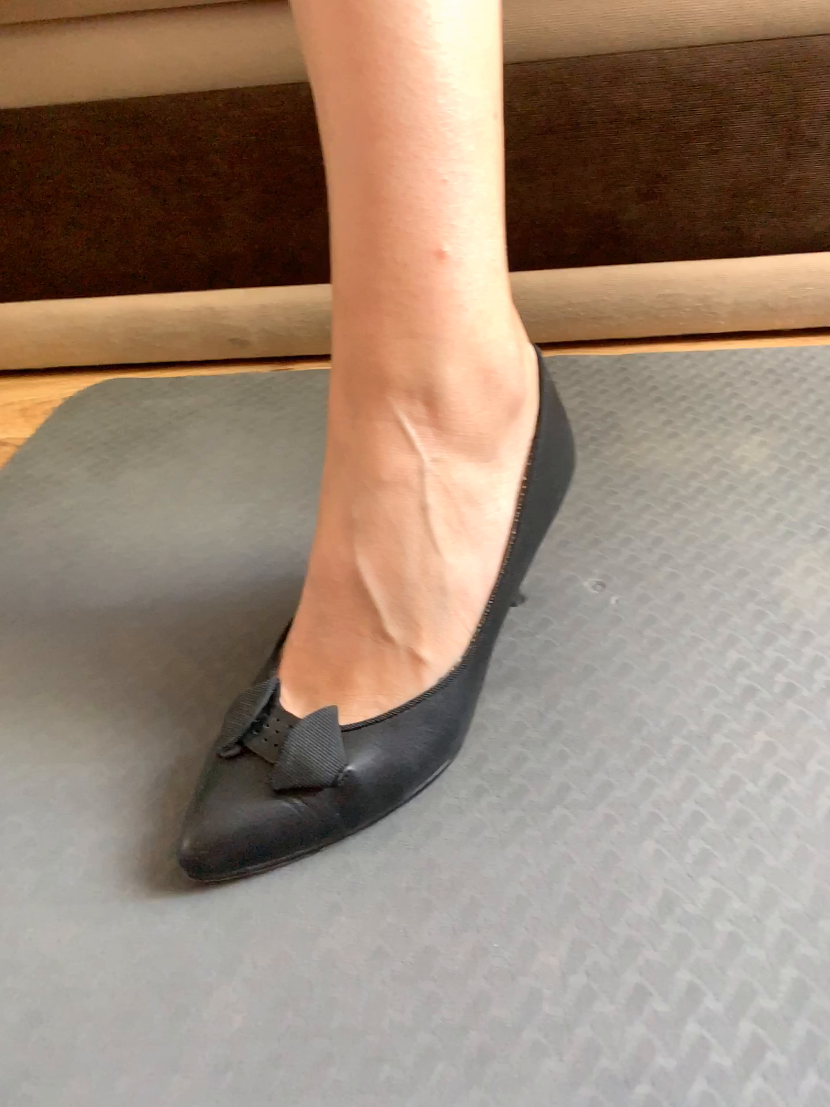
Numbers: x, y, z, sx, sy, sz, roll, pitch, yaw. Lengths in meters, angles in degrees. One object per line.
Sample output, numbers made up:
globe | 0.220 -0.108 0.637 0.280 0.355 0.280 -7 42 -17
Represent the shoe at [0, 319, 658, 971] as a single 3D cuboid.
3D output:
shoe | -0.010 0.009 0.313 0.090 0.099 0.231 23 45 33
